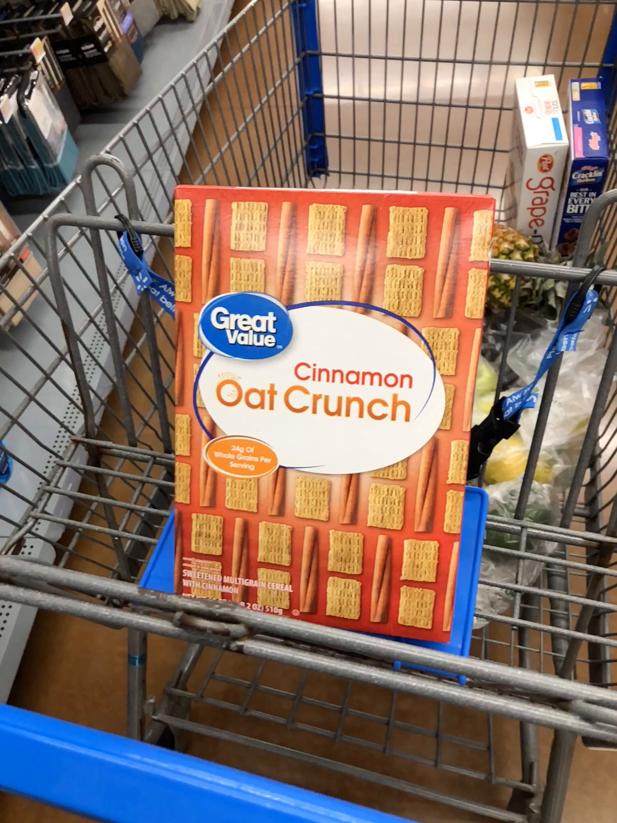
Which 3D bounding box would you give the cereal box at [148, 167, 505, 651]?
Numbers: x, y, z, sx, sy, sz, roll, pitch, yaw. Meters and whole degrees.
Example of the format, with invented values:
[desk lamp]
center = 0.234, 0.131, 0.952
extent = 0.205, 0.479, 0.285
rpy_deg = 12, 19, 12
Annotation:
[cereal box]
center = 0.005, -0.004, 0.444
extent = 0.200, 0.280, 0.070
rpy_deg = 6, 13, 10
